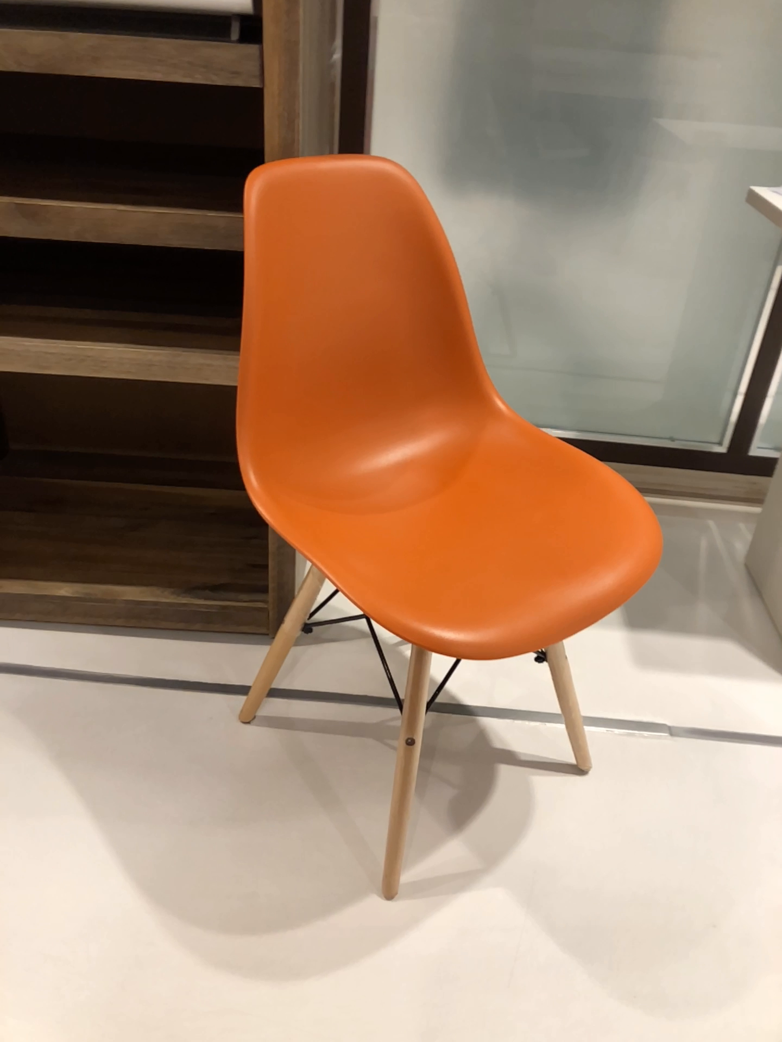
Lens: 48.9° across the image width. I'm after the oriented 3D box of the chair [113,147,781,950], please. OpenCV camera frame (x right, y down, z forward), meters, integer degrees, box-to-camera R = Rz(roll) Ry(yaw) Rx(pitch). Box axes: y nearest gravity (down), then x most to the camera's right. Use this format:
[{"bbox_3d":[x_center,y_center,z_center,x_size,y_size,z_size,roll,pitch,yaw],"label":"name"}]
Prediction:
[{"bbox_3d":[0.028,-0.025,1.117,0.492,0.744,0.582,-19,39,-33],"label":"chair"}]
